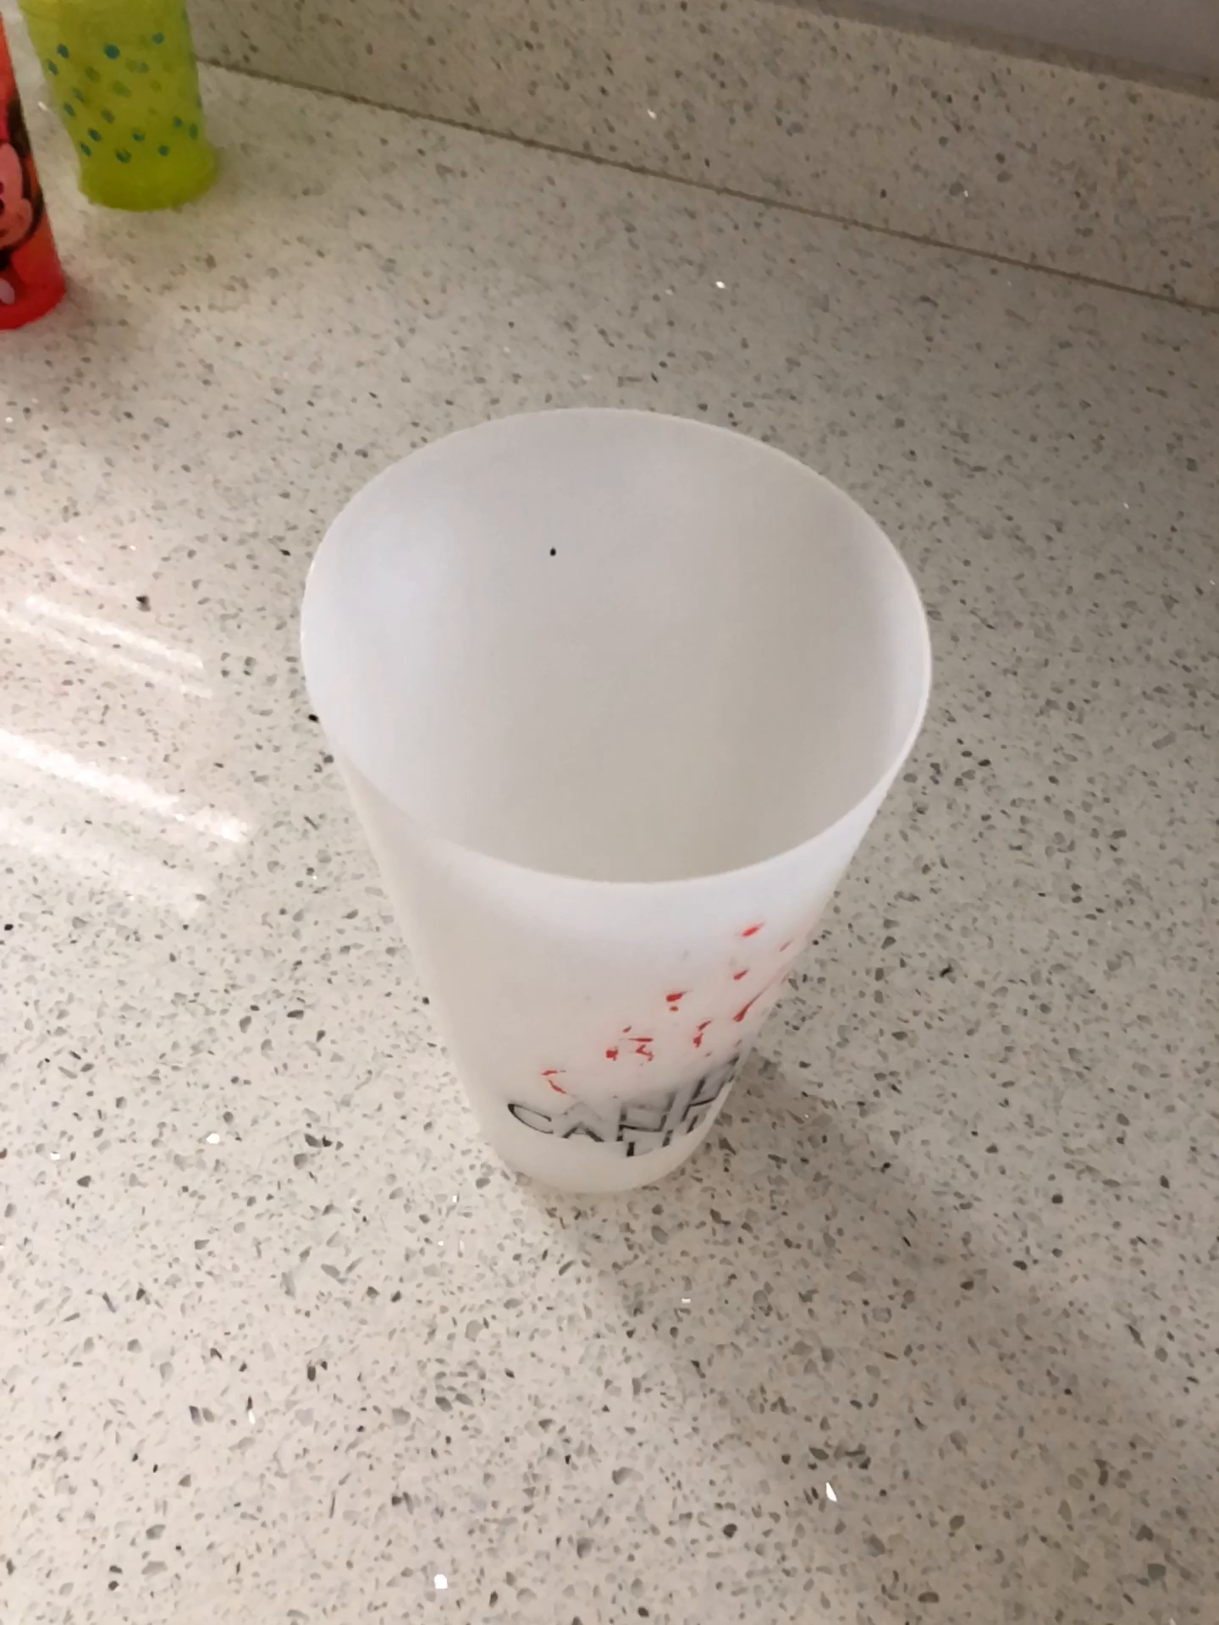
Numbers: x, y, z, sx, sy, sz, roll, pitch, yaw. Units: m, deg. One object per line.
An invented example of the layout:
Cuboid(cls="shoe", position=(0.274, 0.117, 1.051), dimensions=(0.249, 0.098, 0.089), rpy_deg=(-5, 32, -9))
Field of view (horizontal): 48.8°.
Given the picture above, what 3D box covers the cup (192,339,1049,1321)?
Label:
Cuboid(cls="cup", position=(-0.003, 0.015, 0.271), dimensions=(0.096, 0.166, 0.093), rpy_deg=(1, 56, -1))
